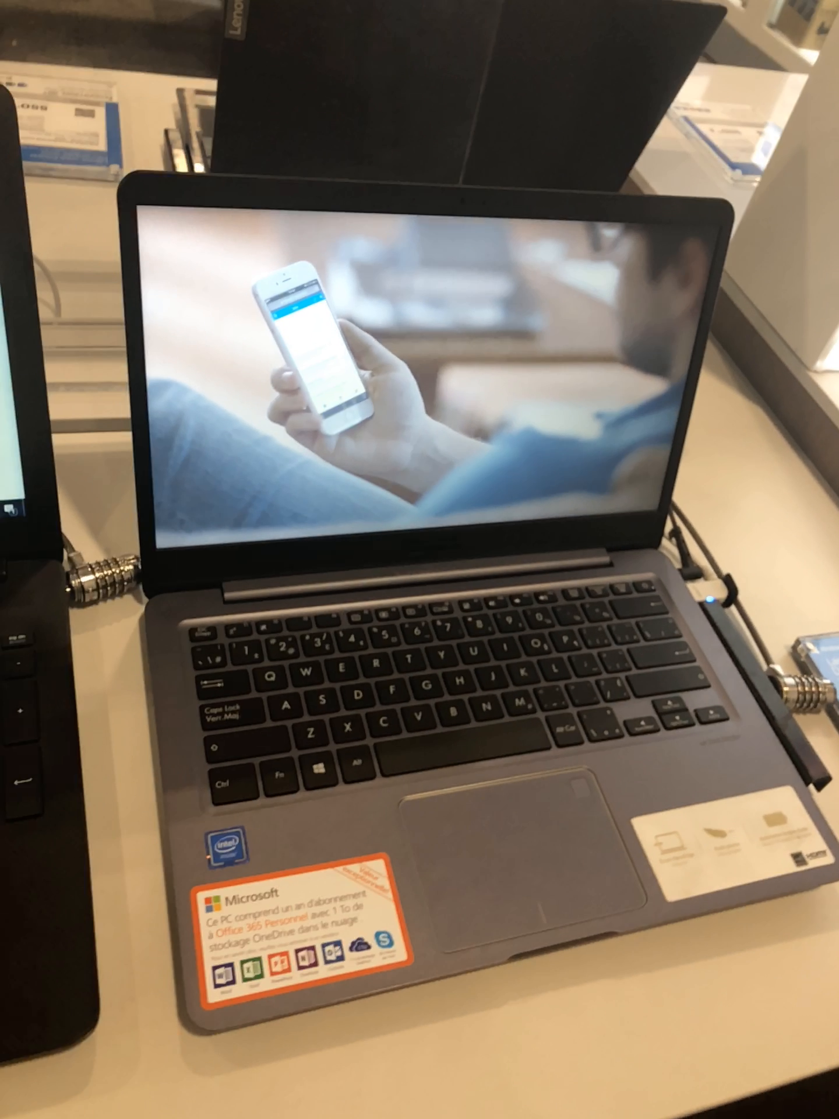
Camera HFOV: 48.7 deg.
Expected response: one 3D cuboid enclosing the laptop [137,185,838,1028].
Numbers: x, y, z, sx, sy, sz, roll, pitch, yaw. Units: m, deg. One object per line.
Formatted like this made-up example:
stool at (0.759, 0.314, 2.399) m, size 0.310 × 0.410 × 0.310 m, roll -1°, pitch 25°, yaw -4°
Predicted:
laptop at (0.044, -0.005, 0.437) m, size 0.316 × 0.196 × 0.292 m, roll -5°, pitch 49°, yaw -19°
